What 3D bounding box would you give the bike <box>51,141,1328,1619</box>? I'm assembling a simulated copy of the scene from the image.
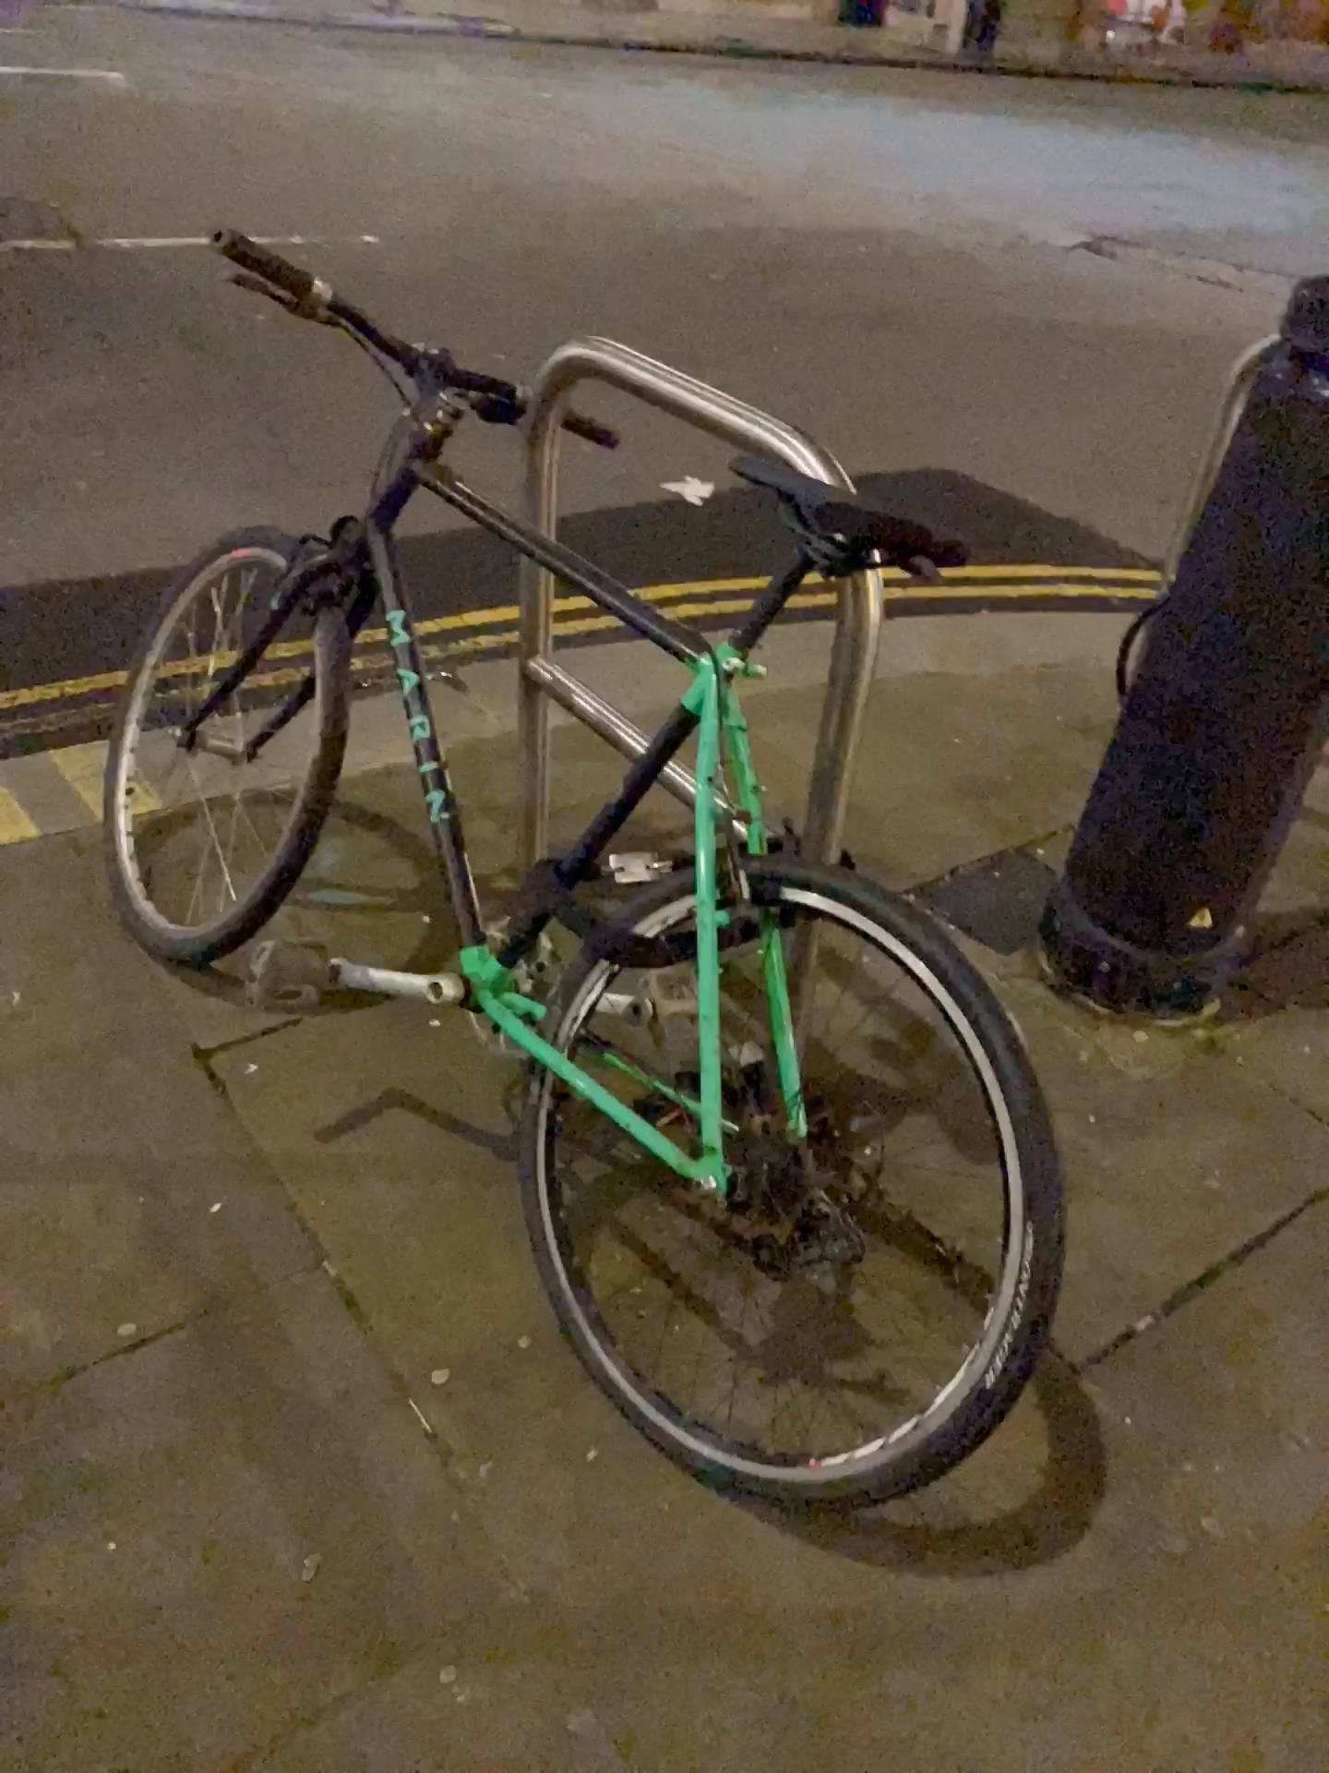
[{"bbox_3d":[-0.034,-0.220,1.713,0.641,1.013,1.691,-24,45,-35],"label":"bike"}]
